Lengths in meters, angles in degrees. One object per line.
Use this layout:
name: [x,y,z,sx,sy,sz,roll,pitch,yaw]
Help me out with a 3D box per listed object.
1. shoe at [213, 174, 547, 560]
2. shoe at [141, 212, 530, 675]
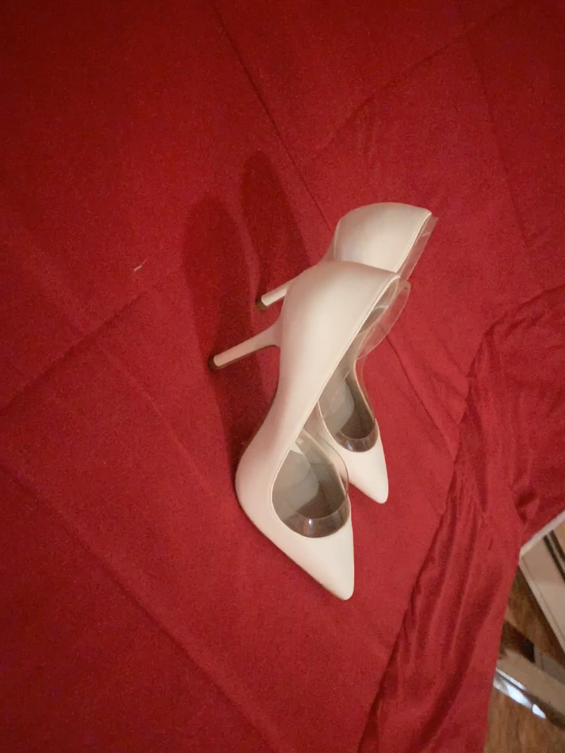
shoe: [0.077,0.003,0.425,0.098,0.139,0.241,-38,109,-48]
shoe: [0.041,0.046,0.366,0.098,0.136,0.243,-38,109,-48]
